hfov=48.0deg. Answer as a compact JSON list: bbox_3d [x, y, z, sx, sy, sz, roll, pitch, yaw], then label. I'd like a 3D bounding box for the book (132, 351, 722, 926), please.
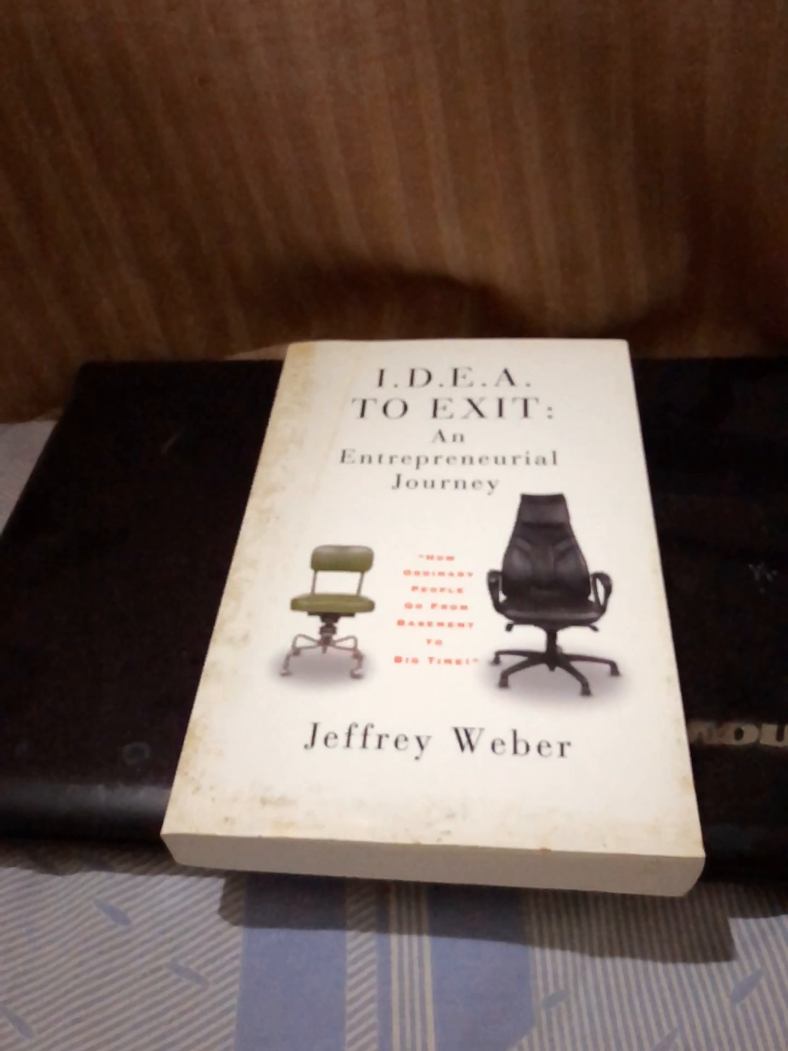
[{"bbox_3d":[0.018,0.016,0.335,0.160,0.030,0.241,2,45,6],"label":"book"}]
